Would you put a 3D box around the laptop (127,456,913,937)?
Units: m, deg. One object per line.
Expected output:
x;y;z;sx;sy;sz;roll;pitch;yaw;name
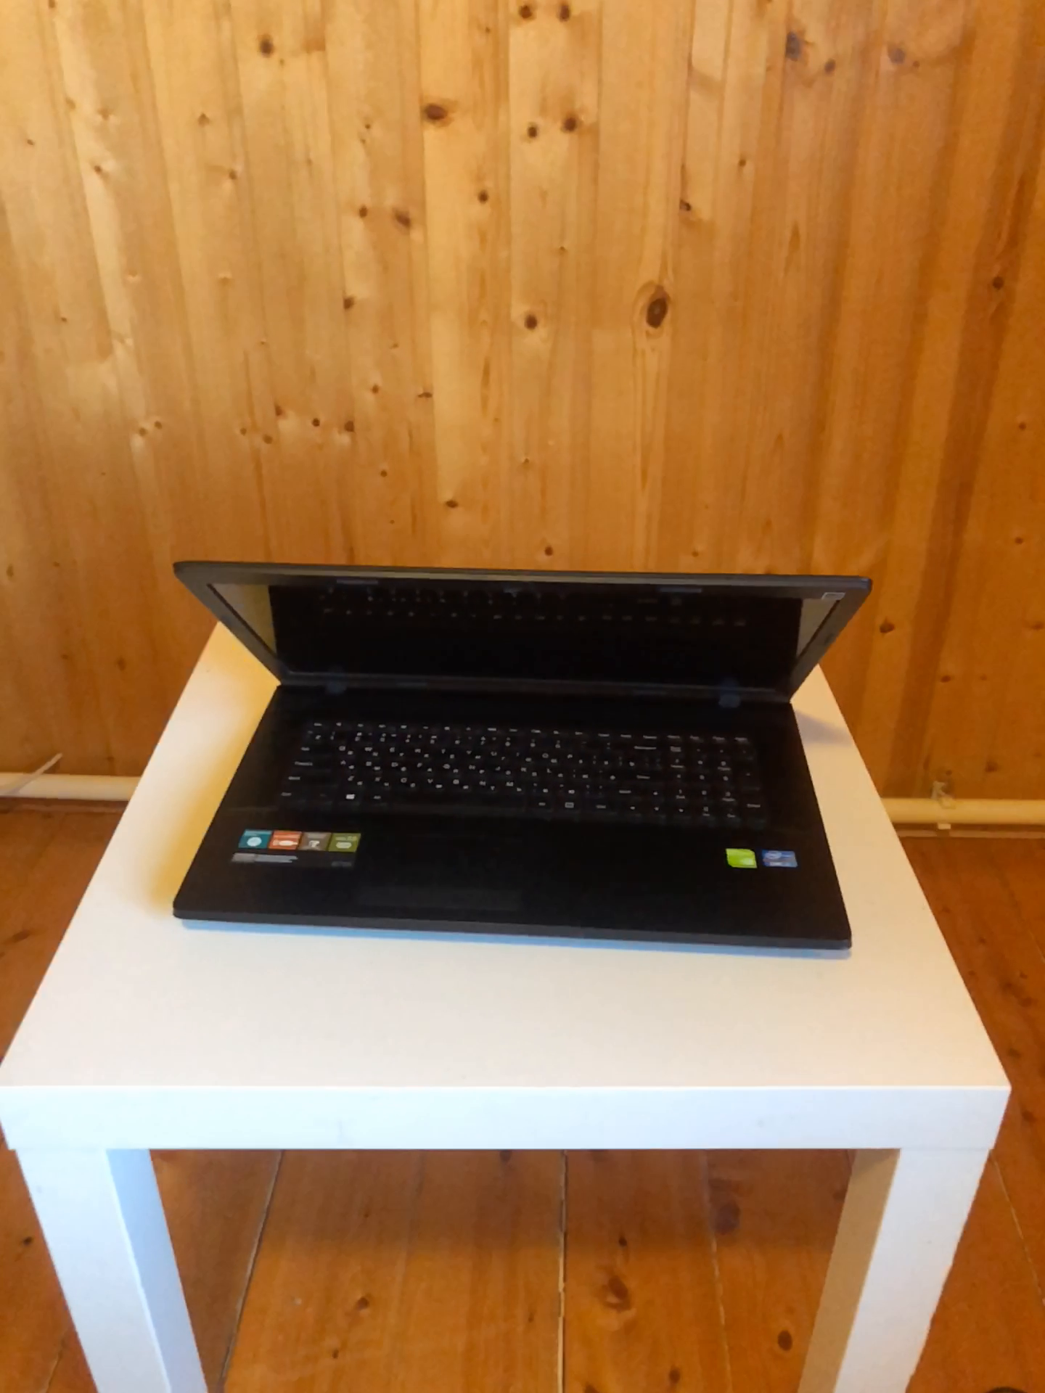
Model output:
0.006;-0.013;0.737;0.401;0.183;0.253;2;31;1;laptop
